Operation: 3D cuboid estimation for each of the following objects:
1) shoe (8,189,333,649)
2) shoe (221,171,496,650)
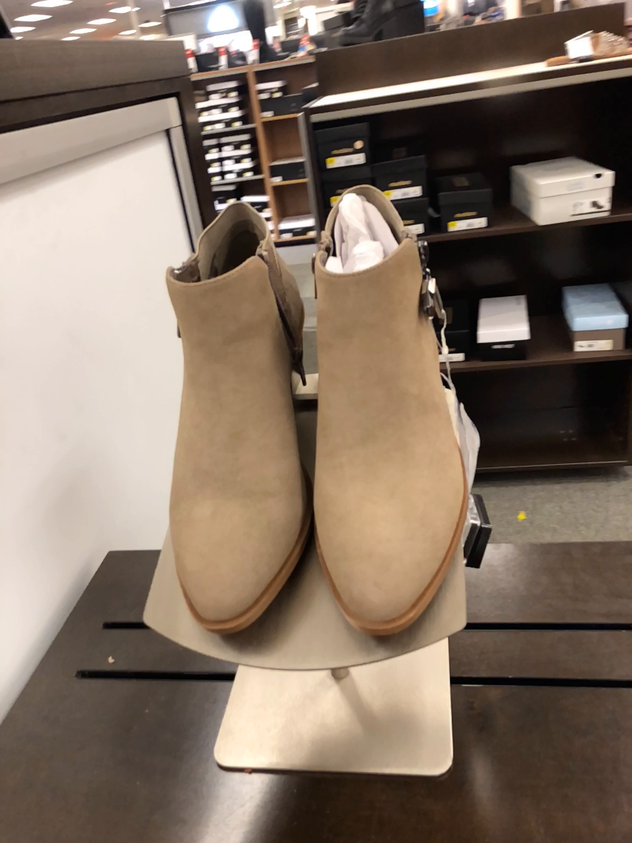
[{"bbox_3d":[-0.053,-0.017,0.398,0.094,0.152,0.231,-5,34,8],"label":"shoe"},{"bbox_3d":[0.033,-0.025,0.383,0.094,0.153,0.241,-5,32,8],"label":"shoe"}]
